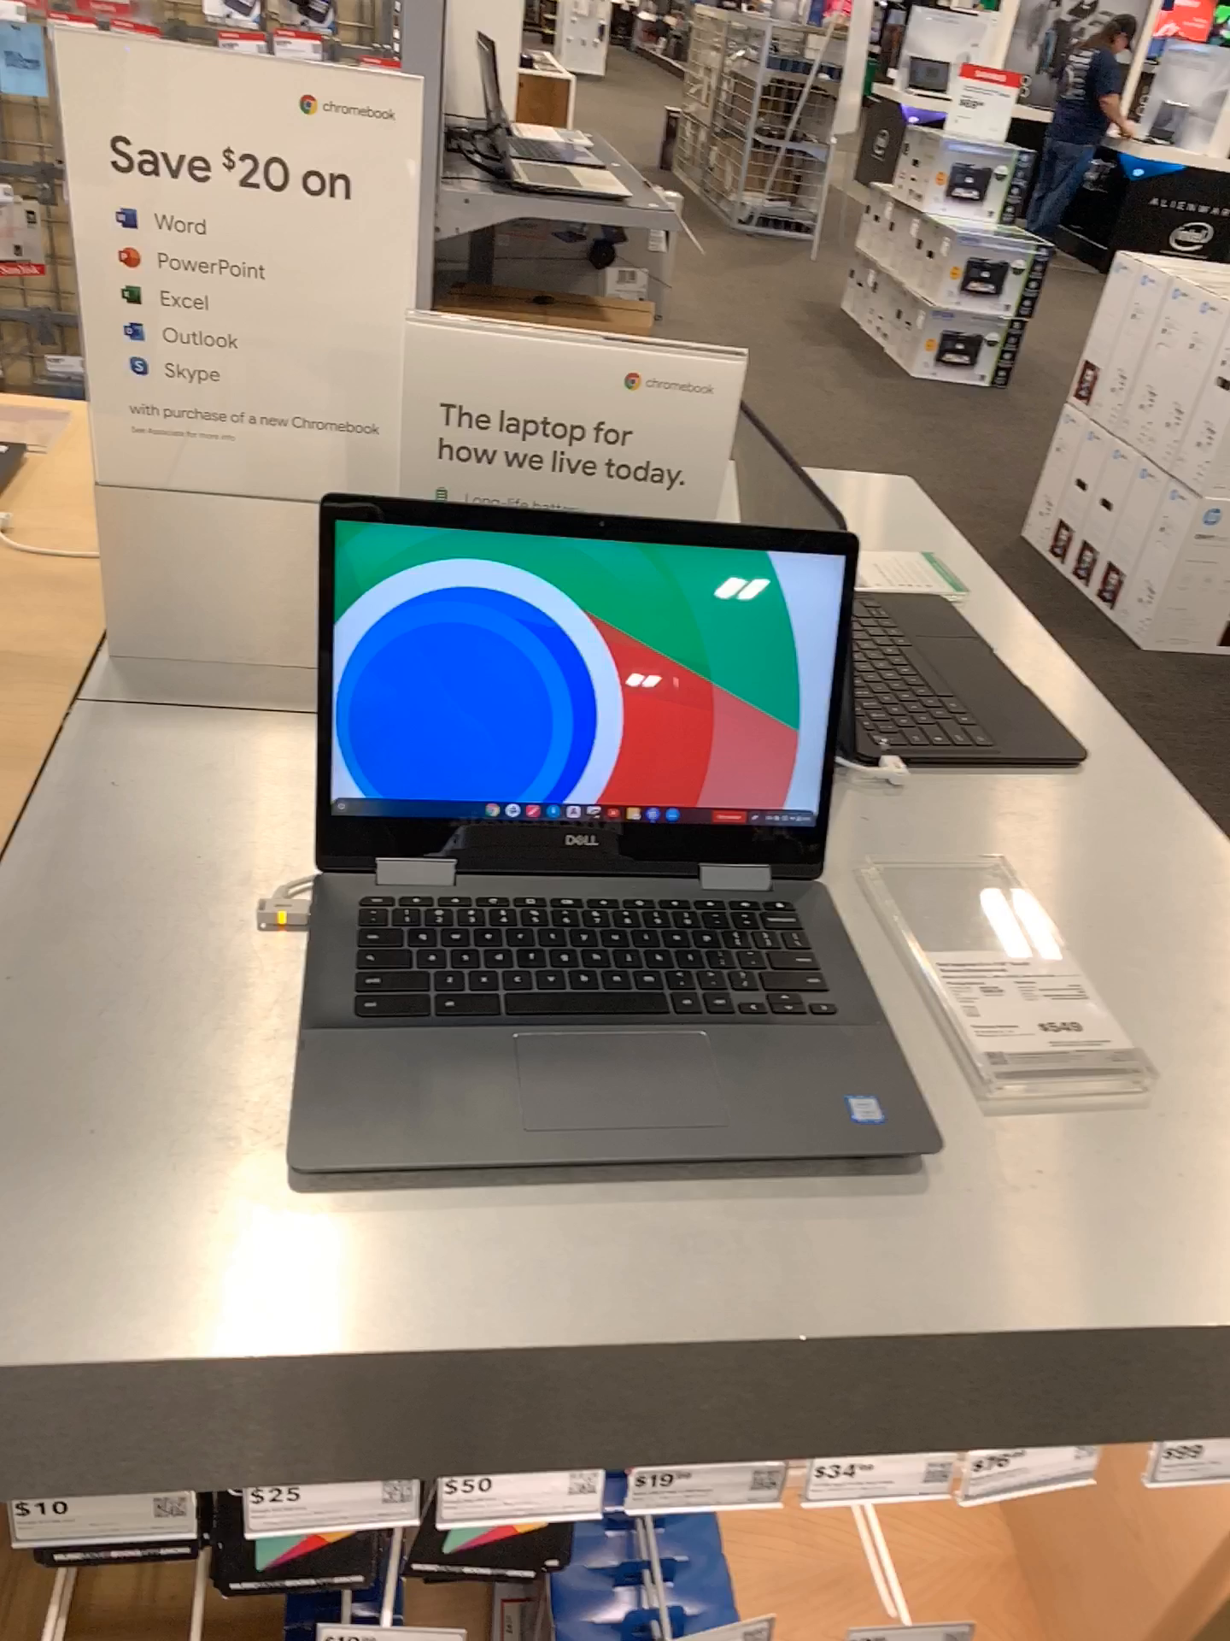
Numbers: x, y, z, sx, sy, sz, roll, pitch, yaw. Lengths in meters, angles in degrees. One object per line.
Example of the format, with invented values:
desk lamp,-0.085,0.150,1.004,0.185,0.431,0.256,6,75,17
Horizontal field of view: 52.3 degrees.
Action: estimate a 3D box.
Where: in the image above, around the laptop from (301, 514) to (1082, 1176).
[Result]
laptop,0.006,-0.005,0.658,0.309,0.202,0.294,1,34,-11
